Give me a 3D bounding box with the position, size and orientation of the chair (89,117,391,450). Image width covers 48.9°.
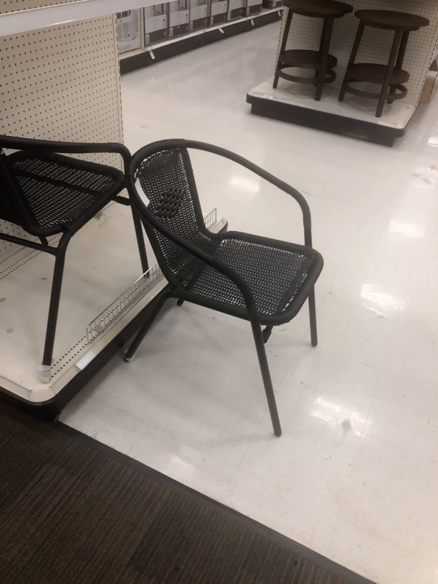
[{"bbox_3d":[0.065,-0.059,1.484,0.640,0.696,0.533,19,39,20],"label":"chair"}]
